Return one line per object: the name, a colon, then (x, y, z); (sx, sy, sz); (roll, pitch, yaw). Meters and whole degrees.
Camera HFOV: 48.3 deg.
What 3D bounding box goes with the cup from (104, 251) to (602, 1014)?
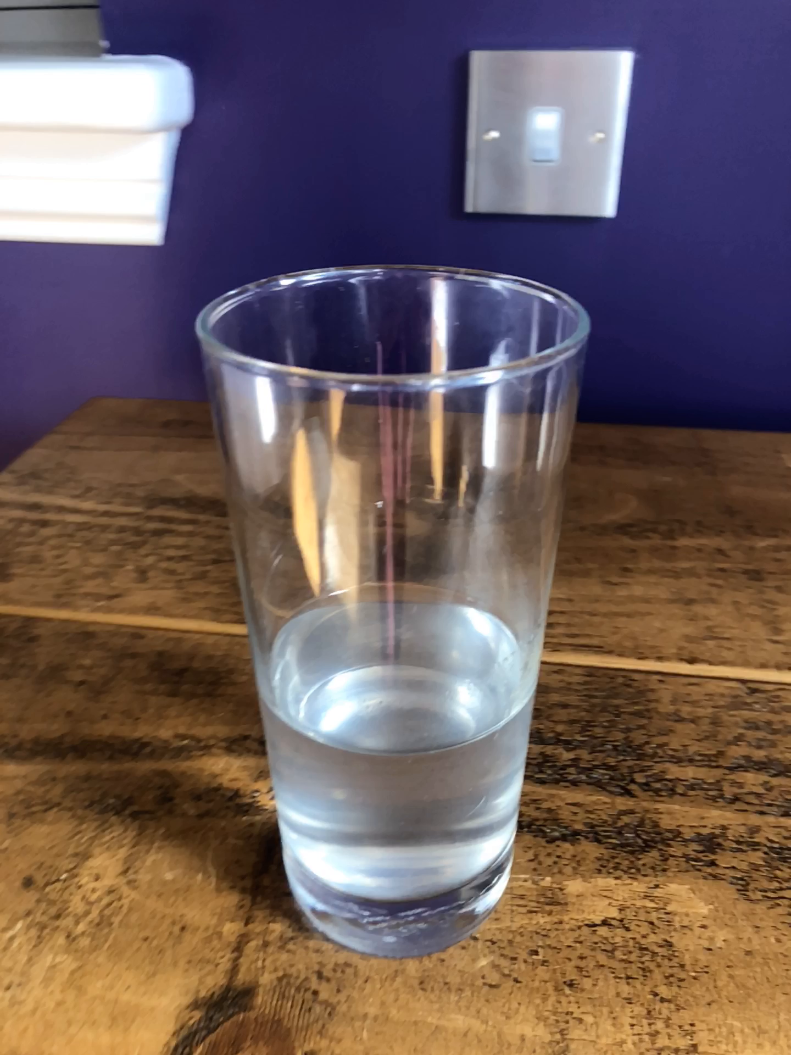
cup: (-0.008, 0.024, 0.201); (0.074, 0.152, 0.078); (0, 29, 0)
